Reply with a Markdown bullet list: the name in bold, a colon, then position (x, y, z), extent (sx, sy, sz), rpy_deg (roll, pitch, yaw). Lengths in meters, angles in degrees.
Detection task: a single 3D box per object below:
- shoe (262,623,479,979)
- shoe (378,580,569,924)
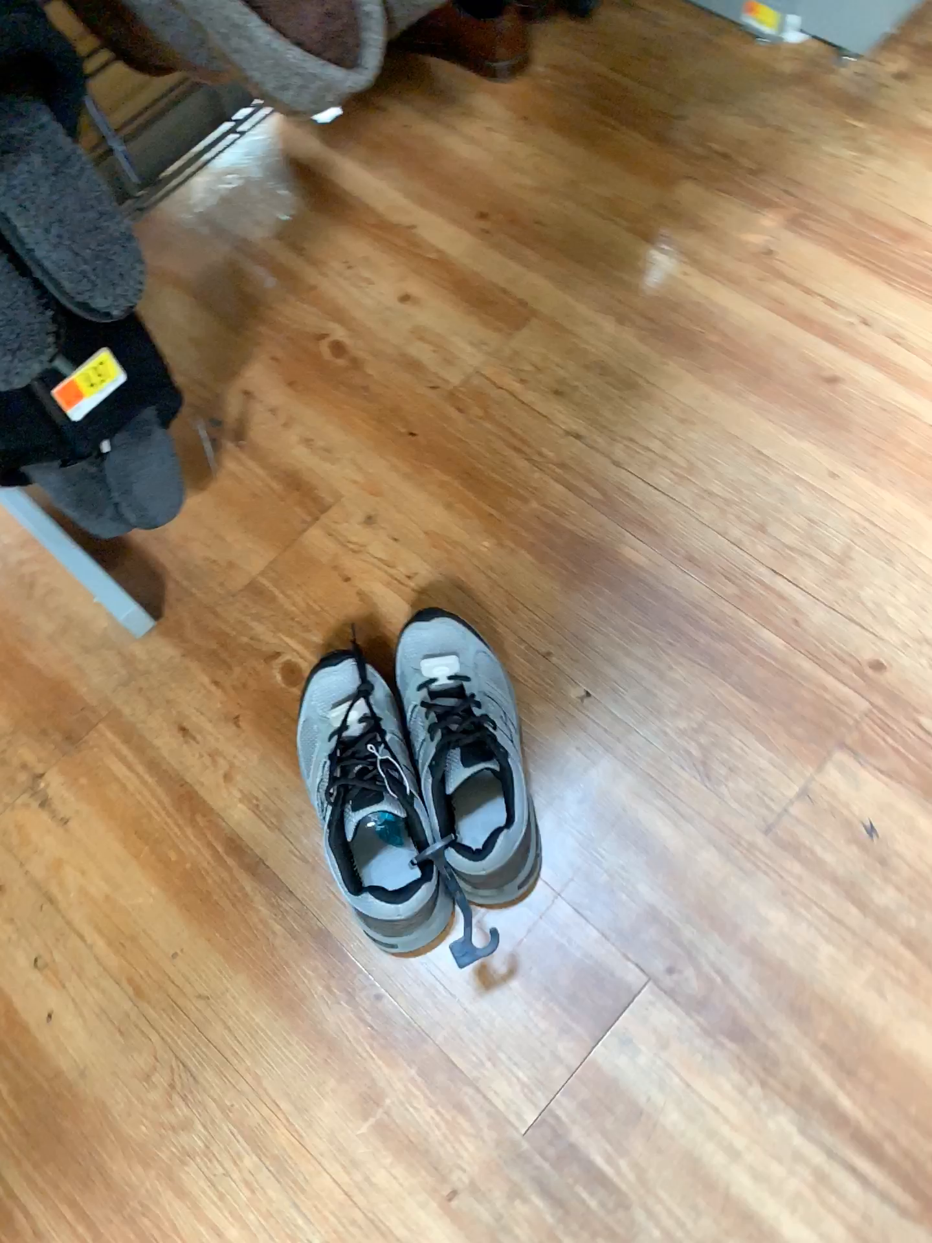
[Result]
- **shoe**: position (-0.097, 0.173, 0.939), extent (0.123, 0.099, 0.309), rpy_deg (-18, 65, -1)
- **shoe**: position (0.005, 0.125, 0.945), extent (0.117, 0.089, 0.308), rpy_deg (-14, 65, 1)
